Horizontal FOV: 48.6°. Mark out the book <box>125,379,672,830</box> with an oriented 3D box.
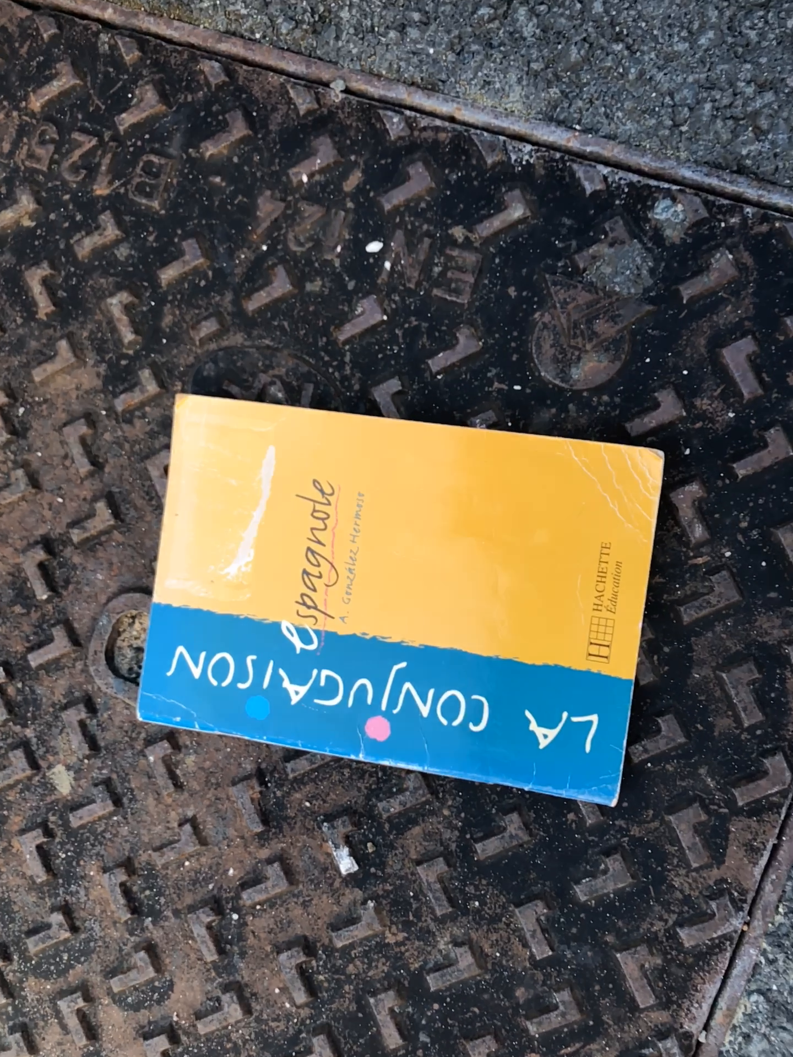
[{"bbox_3d":[-0.003,0.024,0.332,0.187,0.017,0.140,8,90,10],"label":"book"}]
